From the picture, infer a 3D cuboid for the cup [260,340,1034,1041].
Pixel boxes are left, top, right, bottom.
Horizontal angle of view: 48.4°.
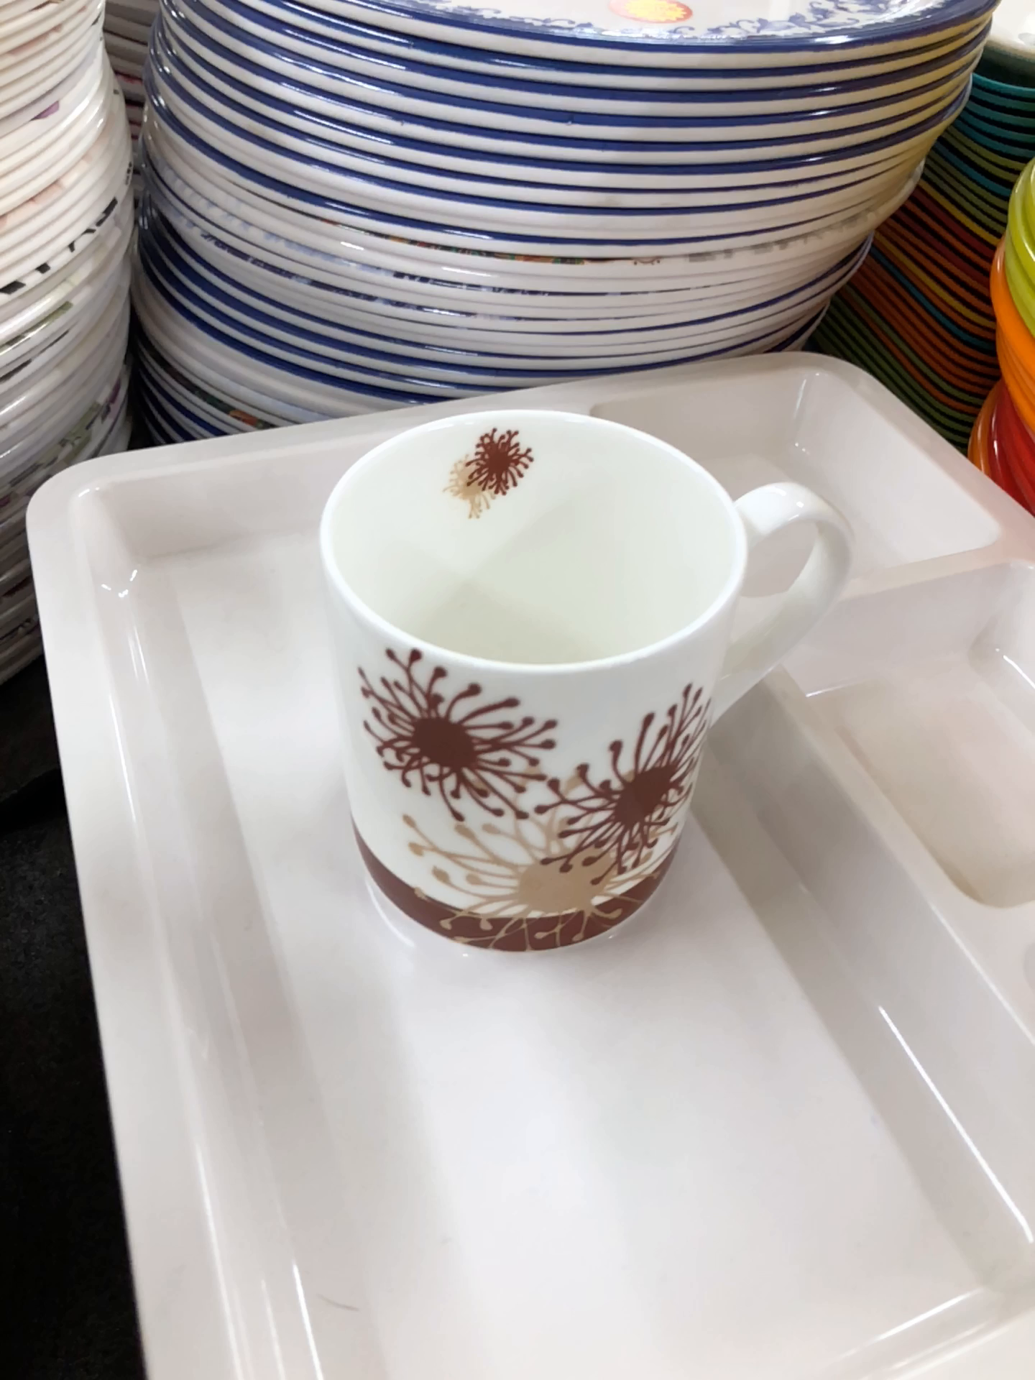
[{"bbox_3d":[0.020,-0.005,0.243,0.120,0.089,0.080,-16,49,-21],"label":"cup"}]
